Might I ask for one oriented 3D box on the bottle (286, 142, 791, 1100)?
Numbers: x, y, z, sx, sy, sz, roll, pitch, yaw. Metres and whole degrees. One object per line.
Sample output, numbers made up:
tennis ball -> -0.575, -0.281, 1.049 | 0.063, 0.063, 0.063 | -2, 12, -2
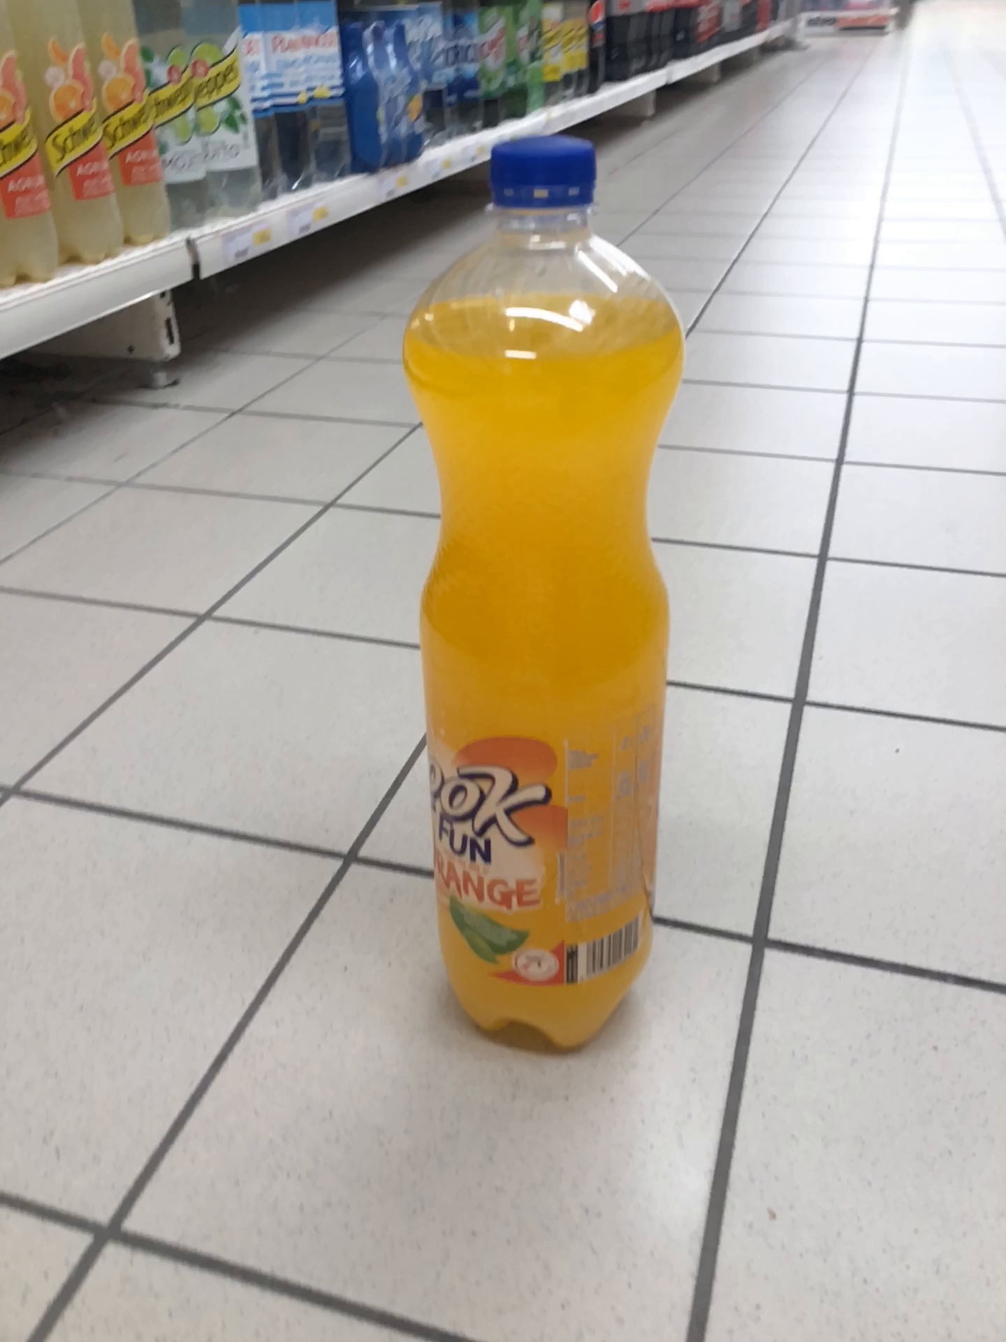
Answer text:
bottle -> 0.009, -0.012, 0.384 | 0.100, 0.298, 0.110 | -1, 30, 1
